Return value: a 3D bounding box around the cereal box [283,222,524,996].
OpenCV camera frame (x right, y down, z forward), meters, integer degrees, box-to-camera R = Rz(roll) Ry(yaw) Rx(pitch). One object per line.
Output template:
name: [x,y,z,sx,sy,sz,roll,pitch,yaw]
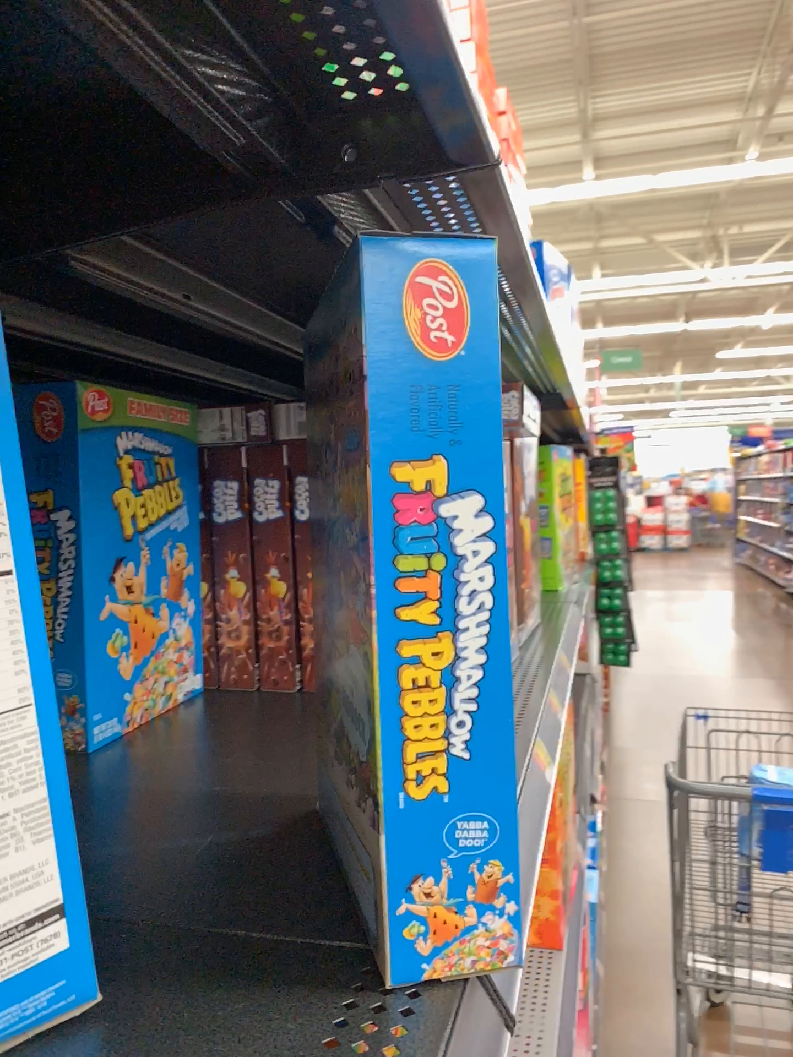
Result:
cereal box: [-0.011,0.032,0.467,0.070,0.330,0.230,-2,1,-15]
